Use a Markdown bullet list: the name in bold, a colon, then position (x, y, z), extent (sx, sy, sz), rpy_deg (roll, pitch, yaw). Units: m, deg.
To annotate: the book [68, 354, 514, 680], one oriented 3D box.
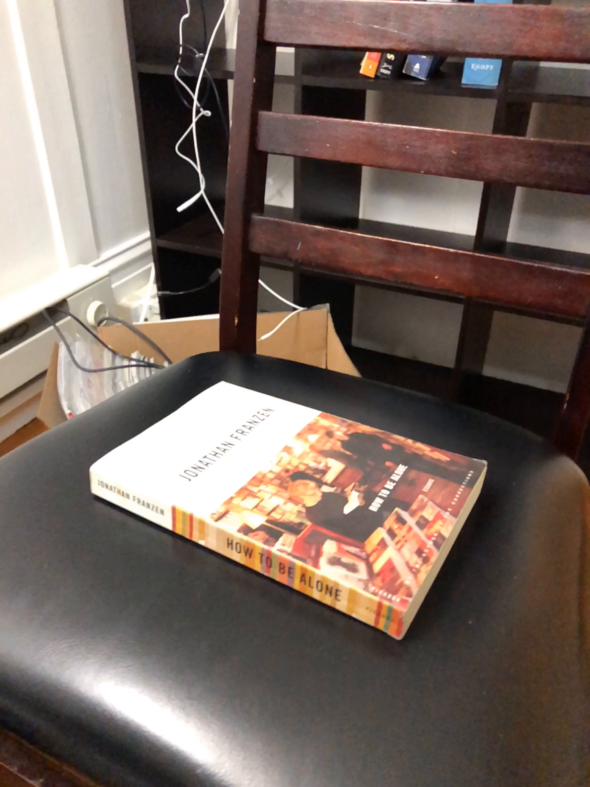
- **book**: position (0.001, 0.055, 0.418), extent (0.230, 0.040, 0.161), rpy_deg (18, 37, 25)
